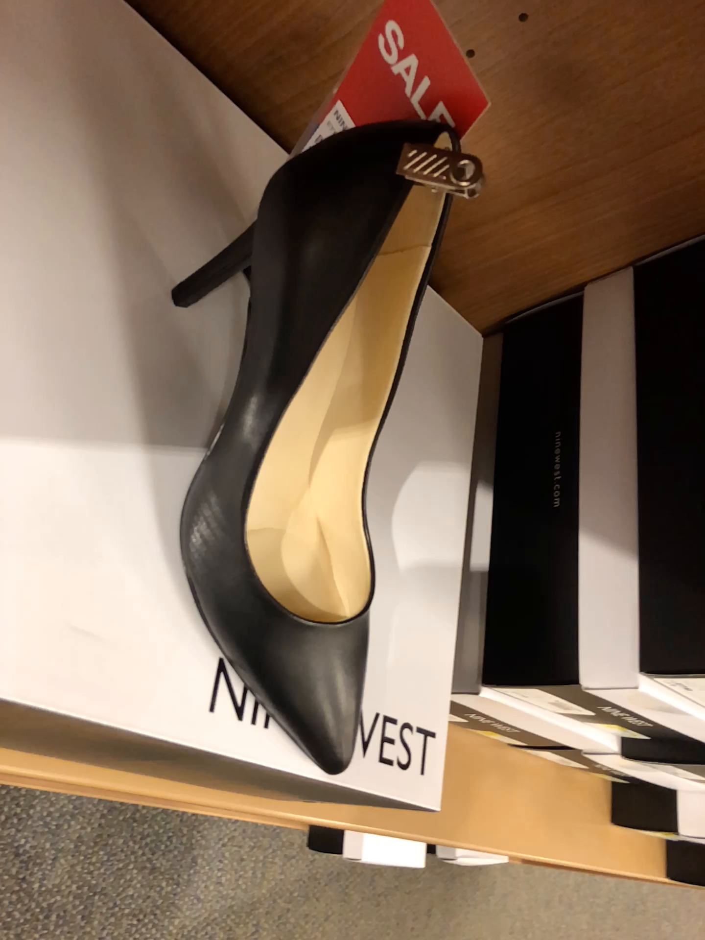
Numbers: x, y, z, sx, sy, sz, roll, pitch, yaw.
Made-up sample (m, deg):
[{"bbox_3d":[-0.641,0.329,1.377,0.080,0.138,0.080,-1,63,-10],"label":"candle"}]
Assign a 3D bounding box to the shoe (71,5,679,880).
[{"bbox_3d":[0.001,0.000,0.309,0.097,0.159,0.255,-12,88,-49],"label":"shoe"}]
